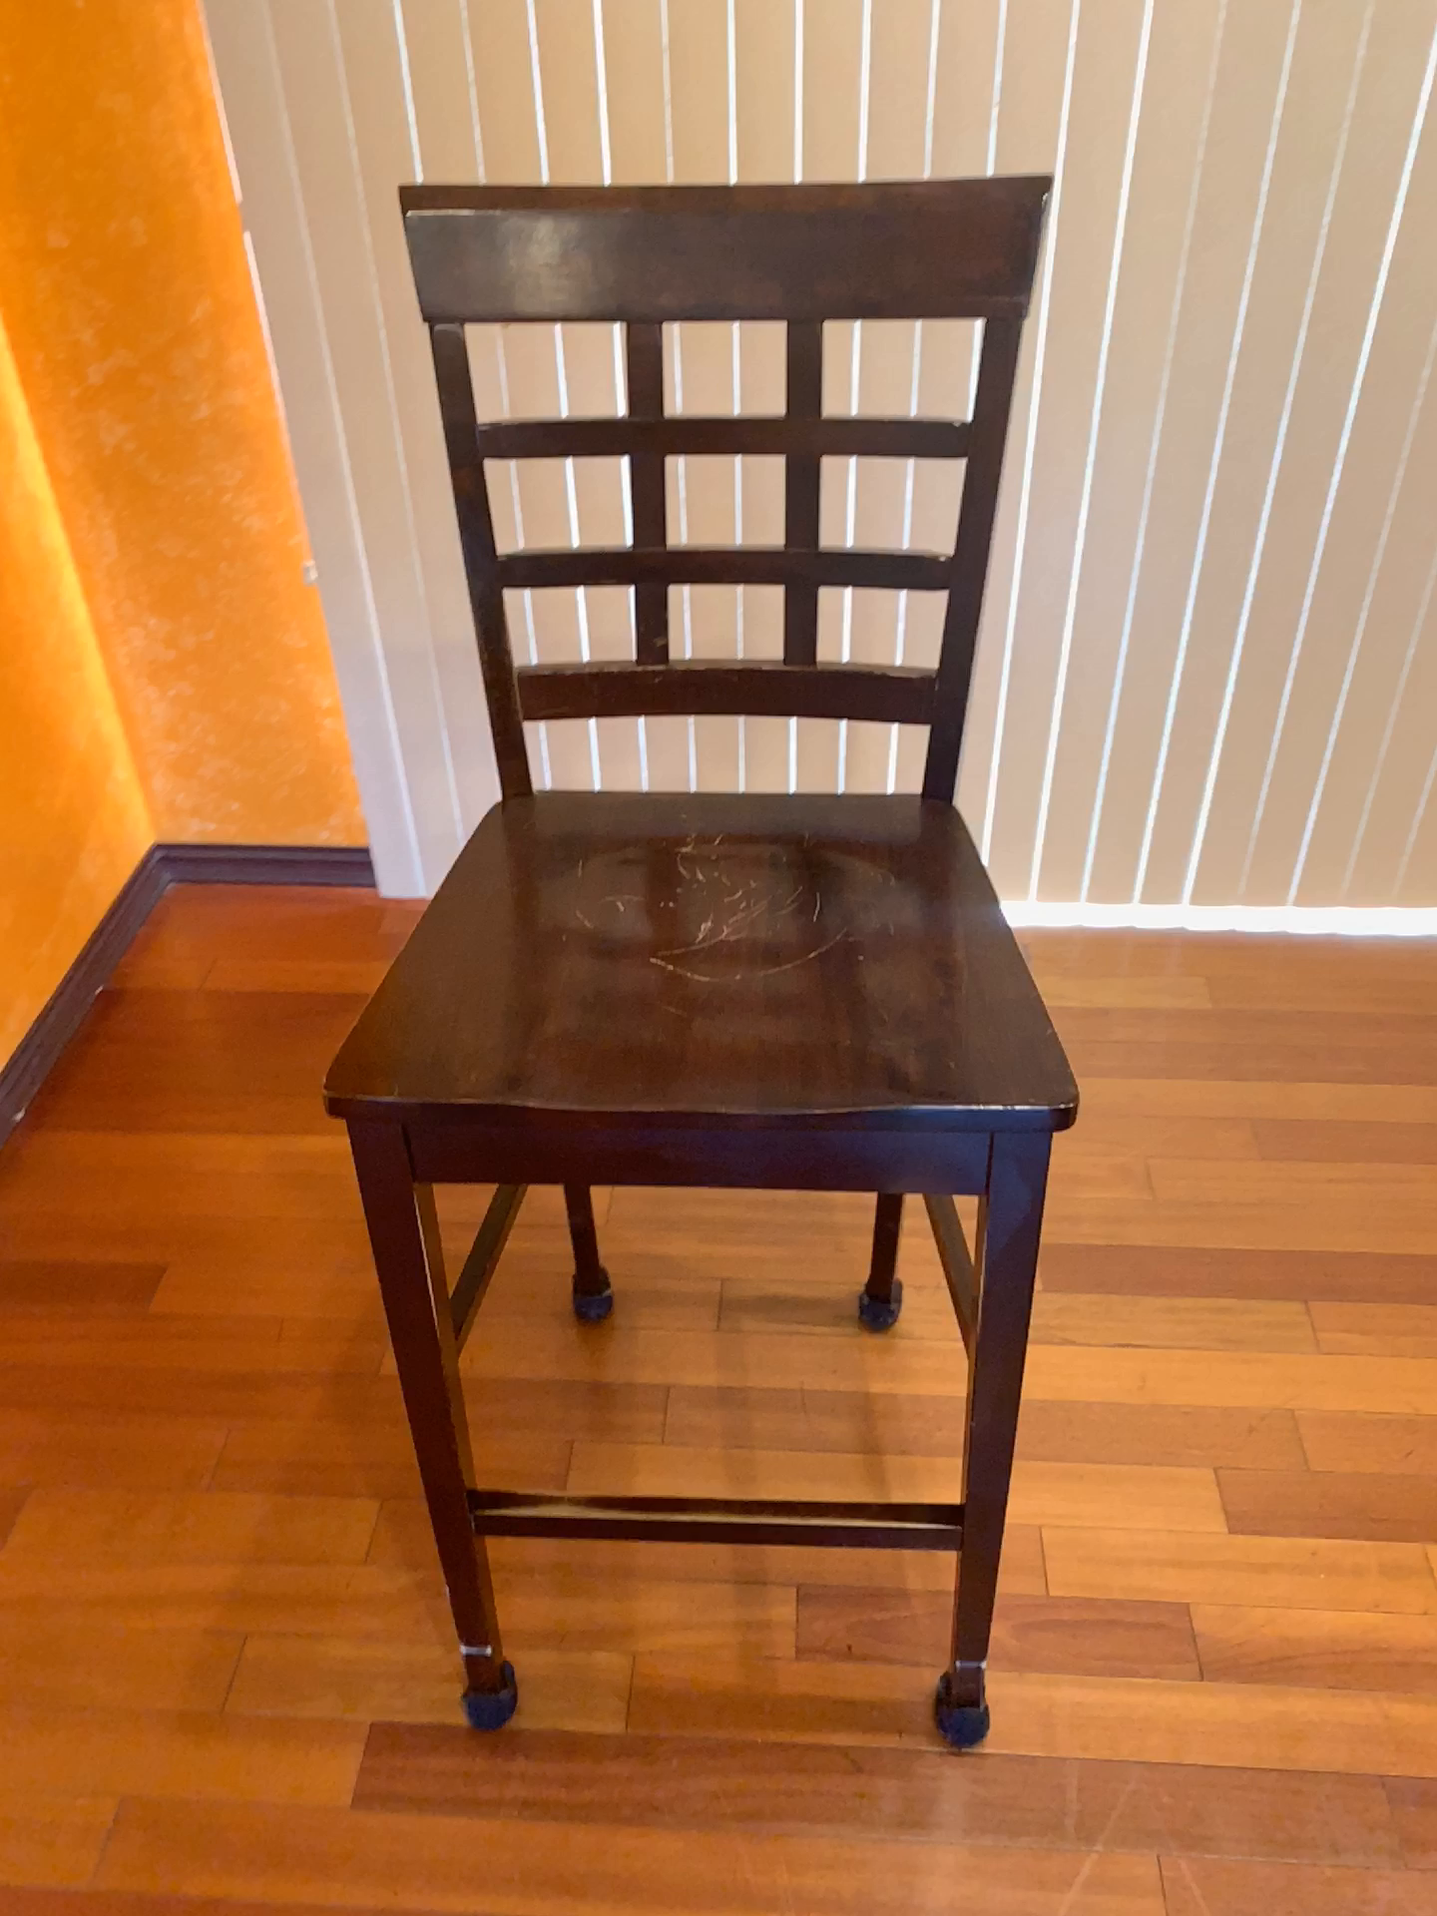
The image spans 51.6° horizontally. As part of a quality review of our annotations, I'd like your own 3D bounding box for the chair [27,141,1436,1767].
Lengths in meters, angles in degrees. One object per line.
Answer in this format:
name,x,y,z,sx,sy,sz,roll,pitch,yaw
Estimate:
chair,0.035,0.026,1.057,0.540,0.986,0.586,1,36,2
